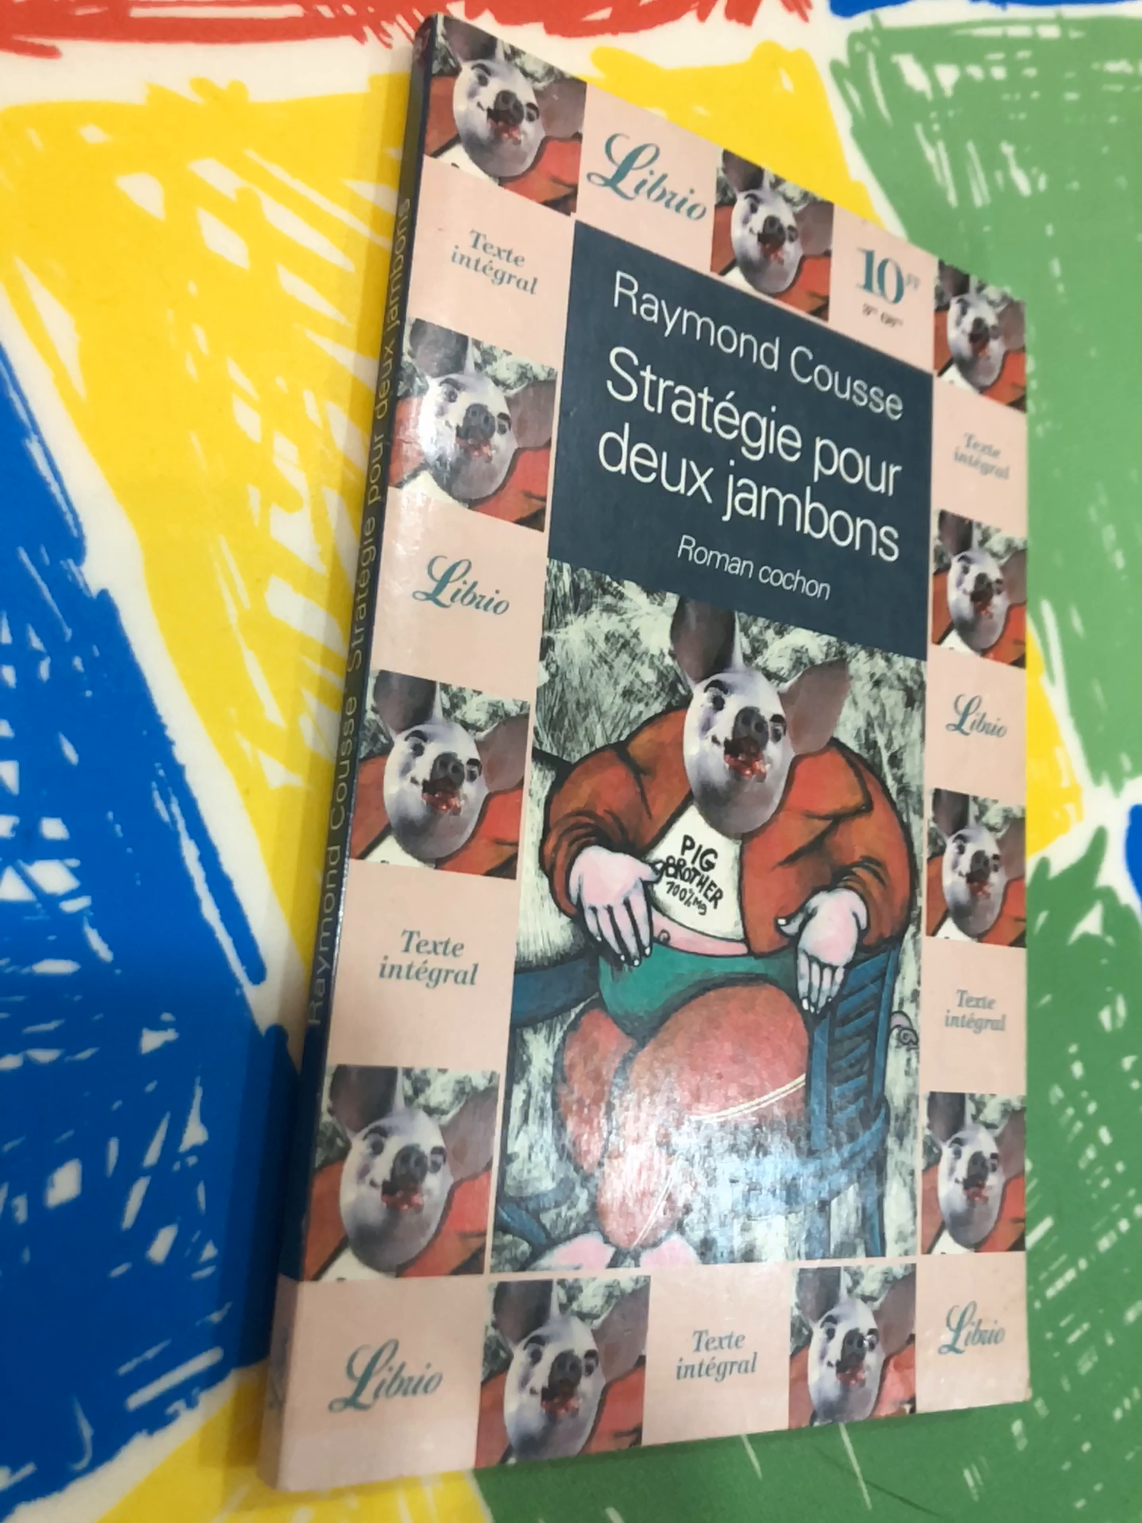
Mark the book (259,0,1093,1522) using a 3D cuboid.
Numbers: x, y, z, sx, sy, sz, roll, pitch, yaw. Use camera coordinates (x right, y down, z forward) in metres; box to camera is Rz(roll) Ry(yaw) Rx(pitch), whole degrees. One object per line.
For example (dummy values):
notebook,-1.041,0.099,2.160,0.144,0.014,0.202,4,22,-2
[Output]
book,0.030,-0.003,0.195,0.131,0.014,0.197,10,77,-29
